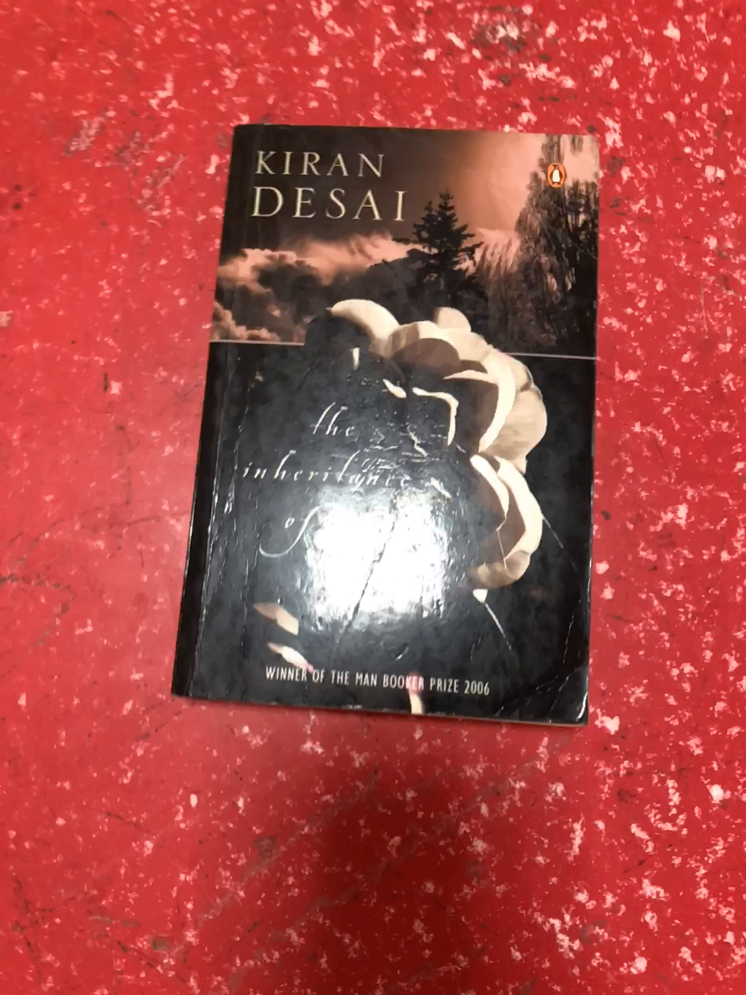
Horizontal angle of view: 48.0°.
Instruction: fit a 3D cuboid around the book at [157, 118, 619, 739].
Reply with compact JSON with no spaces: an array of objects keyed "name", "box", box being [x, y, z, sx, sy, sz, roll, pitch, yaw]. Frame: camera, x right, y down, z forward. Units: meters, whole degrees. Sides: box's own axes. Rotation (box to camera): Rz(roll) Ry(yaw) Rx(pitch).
[{"name":"book","box":[0.010,-0.023,0.287,0.130,0.060,0.190,3,80,3]}]
